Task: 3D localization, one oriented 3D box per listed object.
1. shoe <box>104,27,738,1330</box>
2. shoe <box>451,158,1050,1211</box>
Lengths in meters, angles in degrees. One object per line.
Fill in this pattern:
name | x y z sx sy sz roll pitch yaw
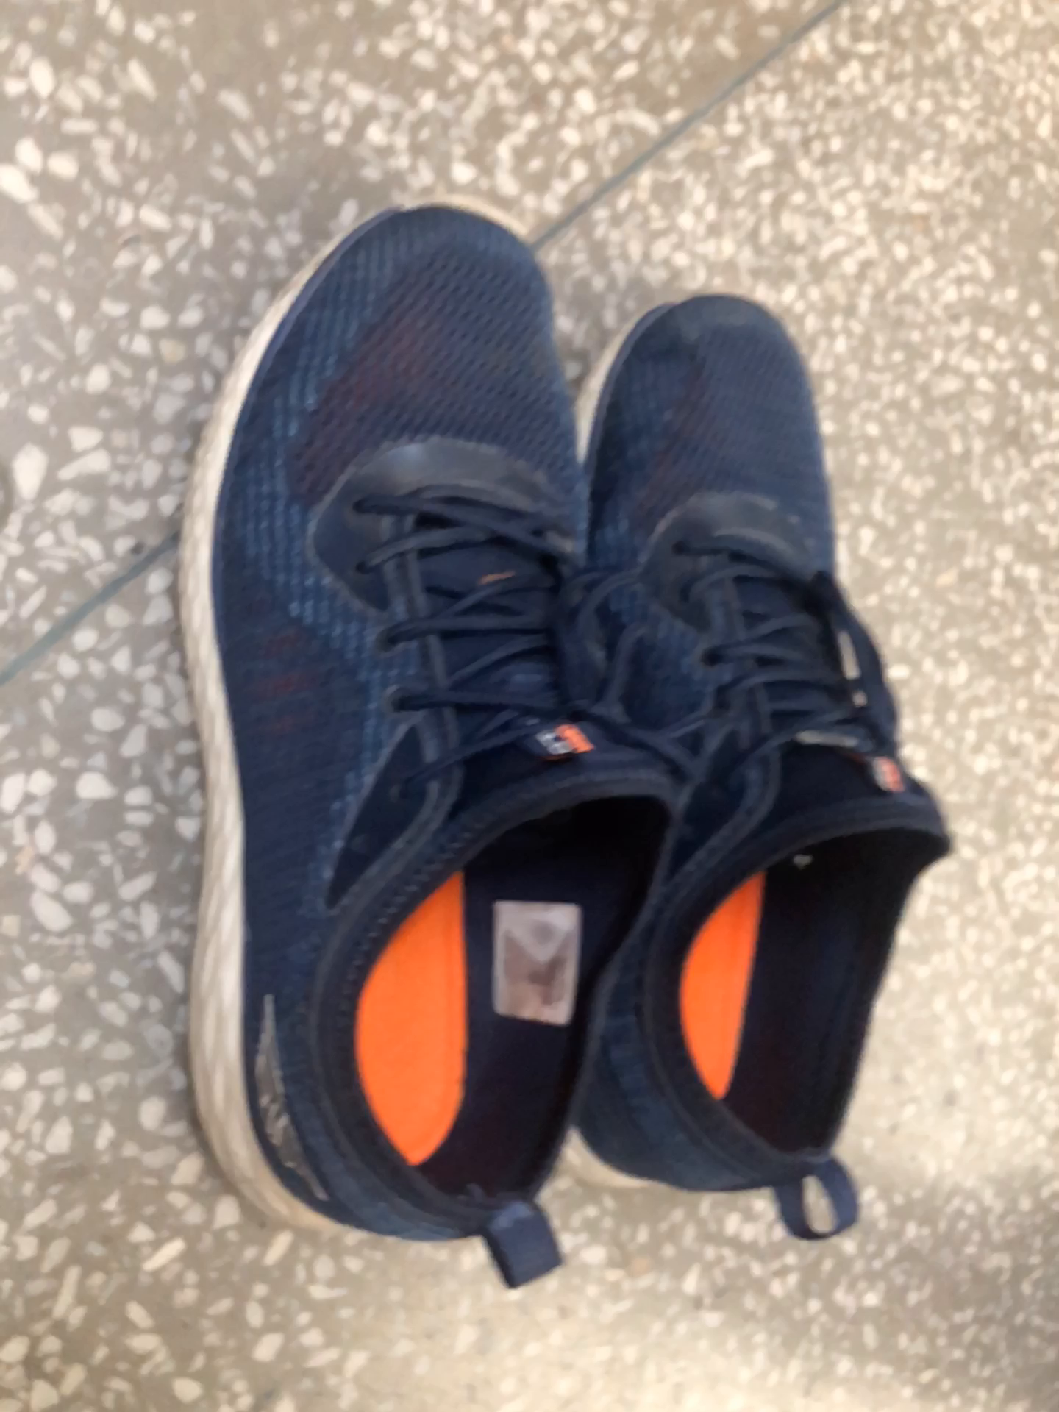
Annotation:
shoe | -0.030 -0.004 0.300 0.113 0.100 0.249 4 88 -30
shoe | 0.064 -0.002 0.355 0.123 0.100 0.249 6 87 -30
